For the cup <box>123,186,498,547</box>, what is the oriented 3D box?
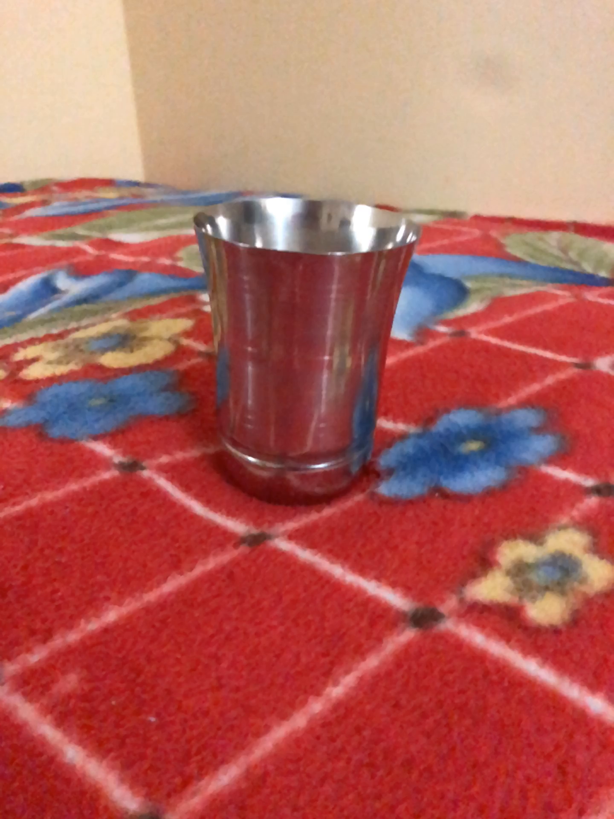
[{"bbox_3d":[0.001,-0.025,0.245,0.087,0.090,0.089,2,24,-1],"label":"cup"}]
